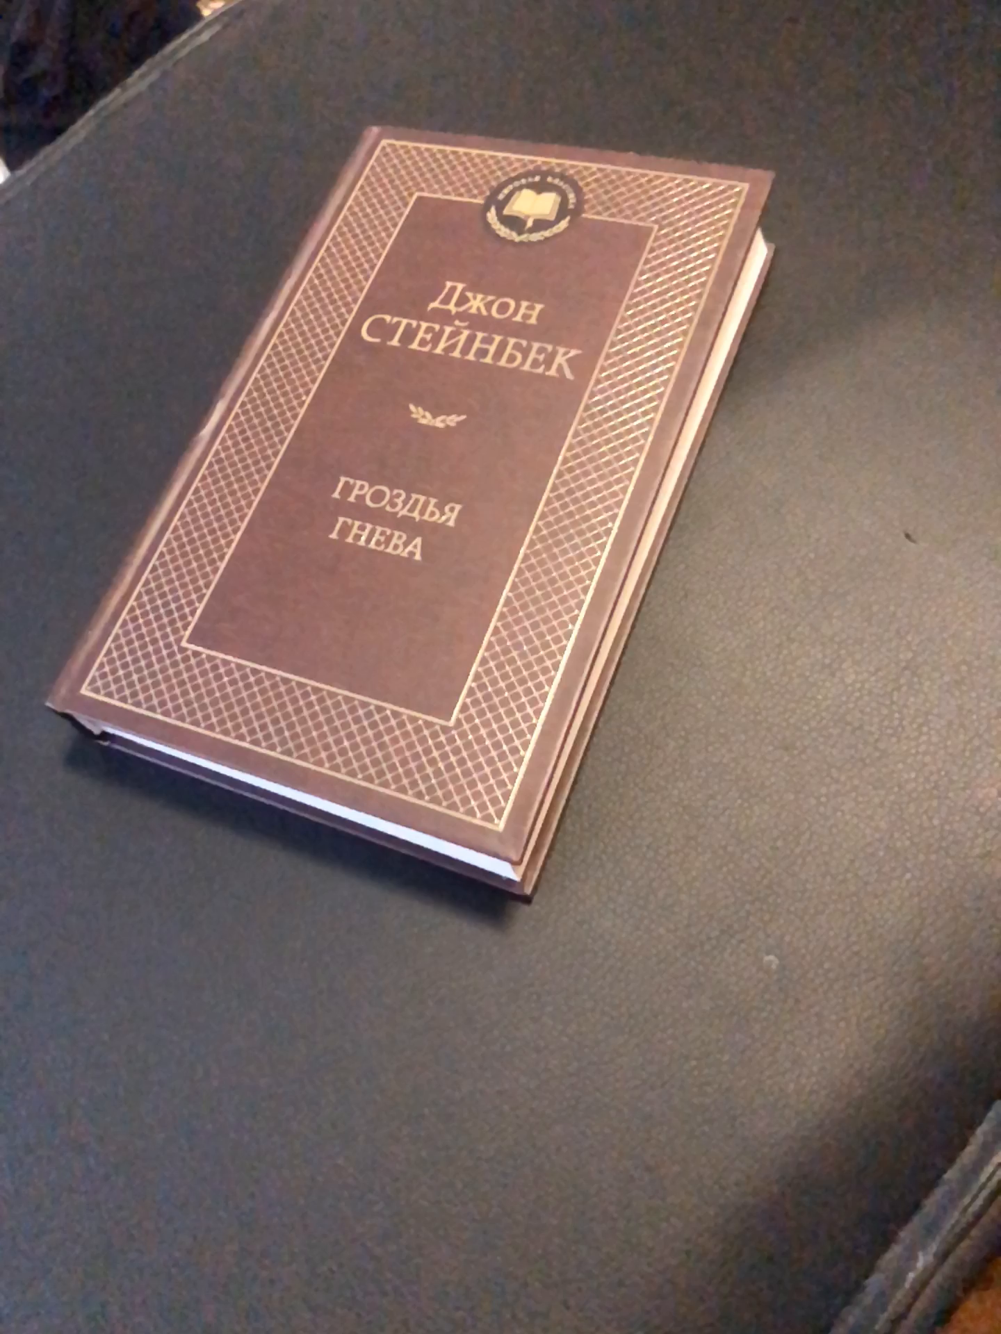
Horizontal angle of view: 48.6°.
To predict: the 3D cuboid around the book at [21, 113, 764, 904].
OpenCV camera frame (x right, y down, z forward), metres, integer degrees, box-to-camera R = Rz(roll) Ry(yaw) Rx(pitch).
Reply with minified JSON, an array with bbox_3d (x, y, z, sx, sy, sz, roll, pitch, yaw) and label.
[{"bbox_3d":[-0.020,-0.055,0.302,0.130,0.040,0.200,15,71,19],"label":"book"}]
